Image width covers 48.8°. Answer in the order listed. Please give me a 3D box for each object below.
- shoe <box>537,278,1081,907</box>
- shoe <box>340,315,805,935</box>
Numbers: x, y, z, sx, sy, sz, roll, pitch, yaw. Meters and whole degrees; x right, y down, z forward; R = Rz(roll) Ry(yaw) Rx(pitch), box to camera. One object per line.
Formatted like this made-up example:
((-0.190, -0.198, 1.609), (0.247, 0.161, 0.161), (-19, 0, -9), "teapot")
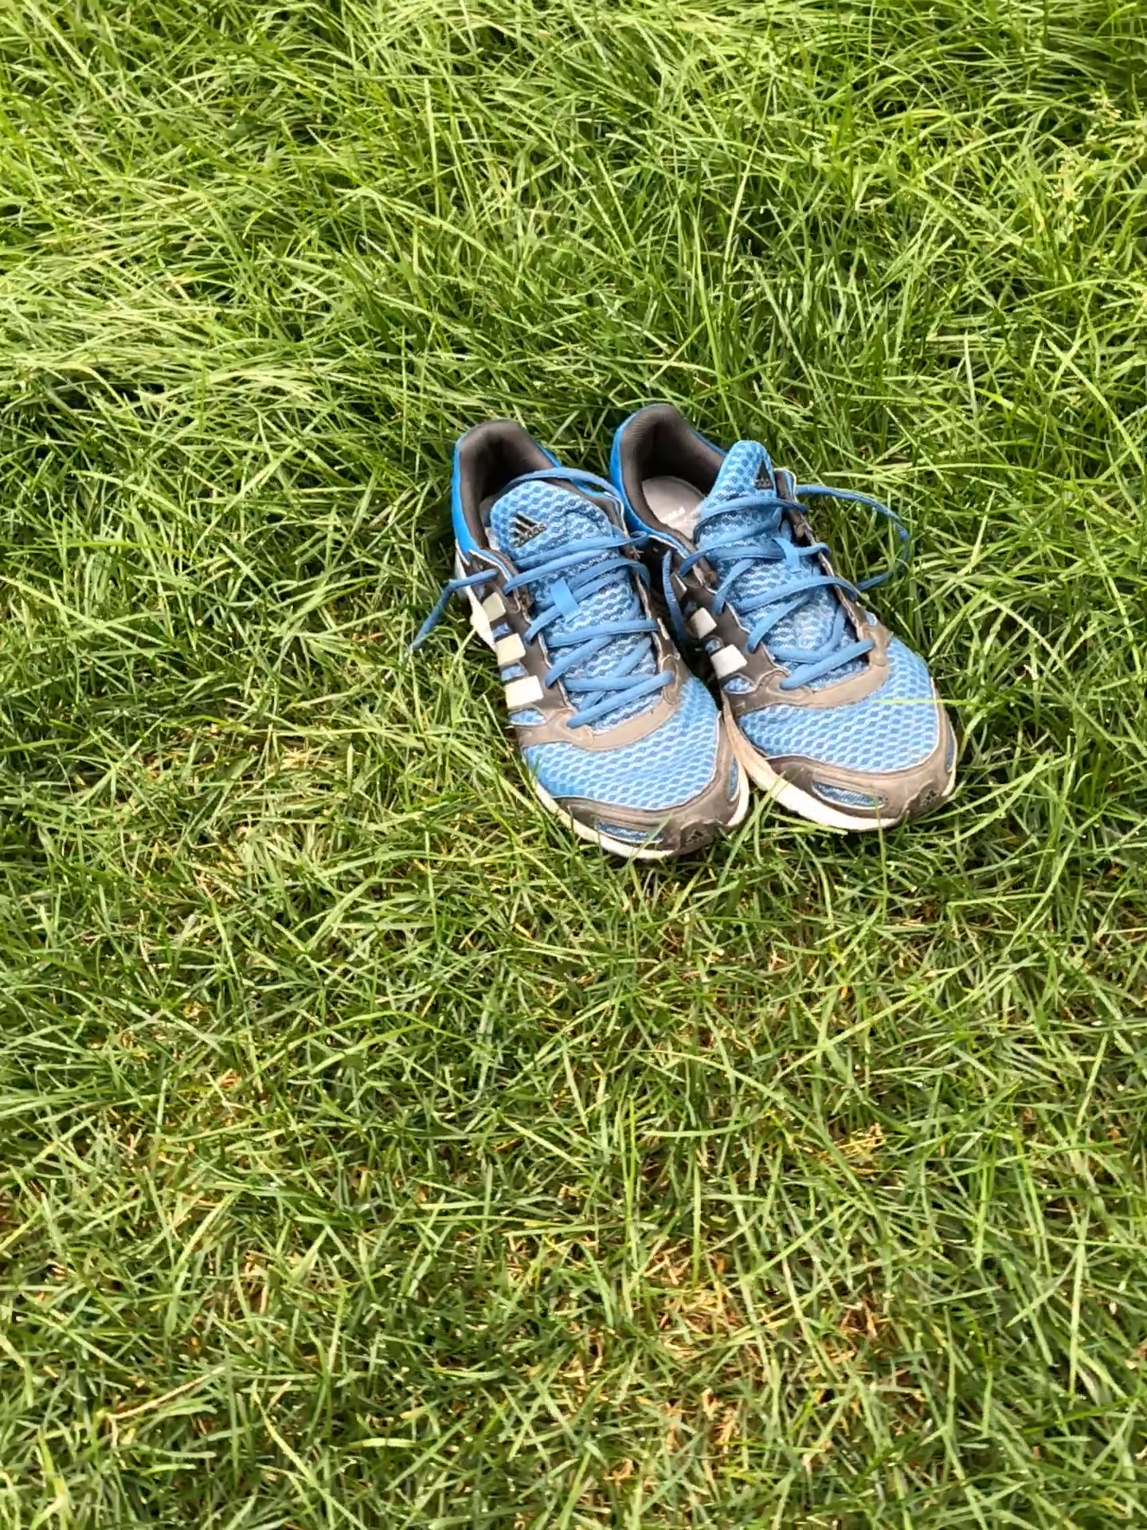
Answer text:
((0.108, -0.089, 0.651), (0.120, 0.120, 0.280), (-29, 68, -5), "shoe")
((-0.002, -0.072, 0.650), (0.120, 0.120, 0.270), (-25, 67, -3), "shoe")
